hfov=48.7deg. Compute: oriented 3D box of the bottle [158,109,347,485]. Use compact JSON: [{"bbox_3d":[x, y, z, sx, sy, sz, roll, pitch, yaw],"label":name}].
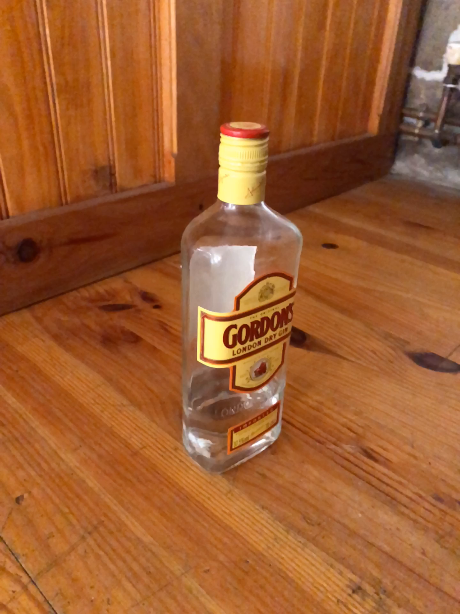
[{"bbox_3d":[0.008,-0.001,0.349,0.090,0.239,0.060,-20,37,-34],"label":"bottle"}]
